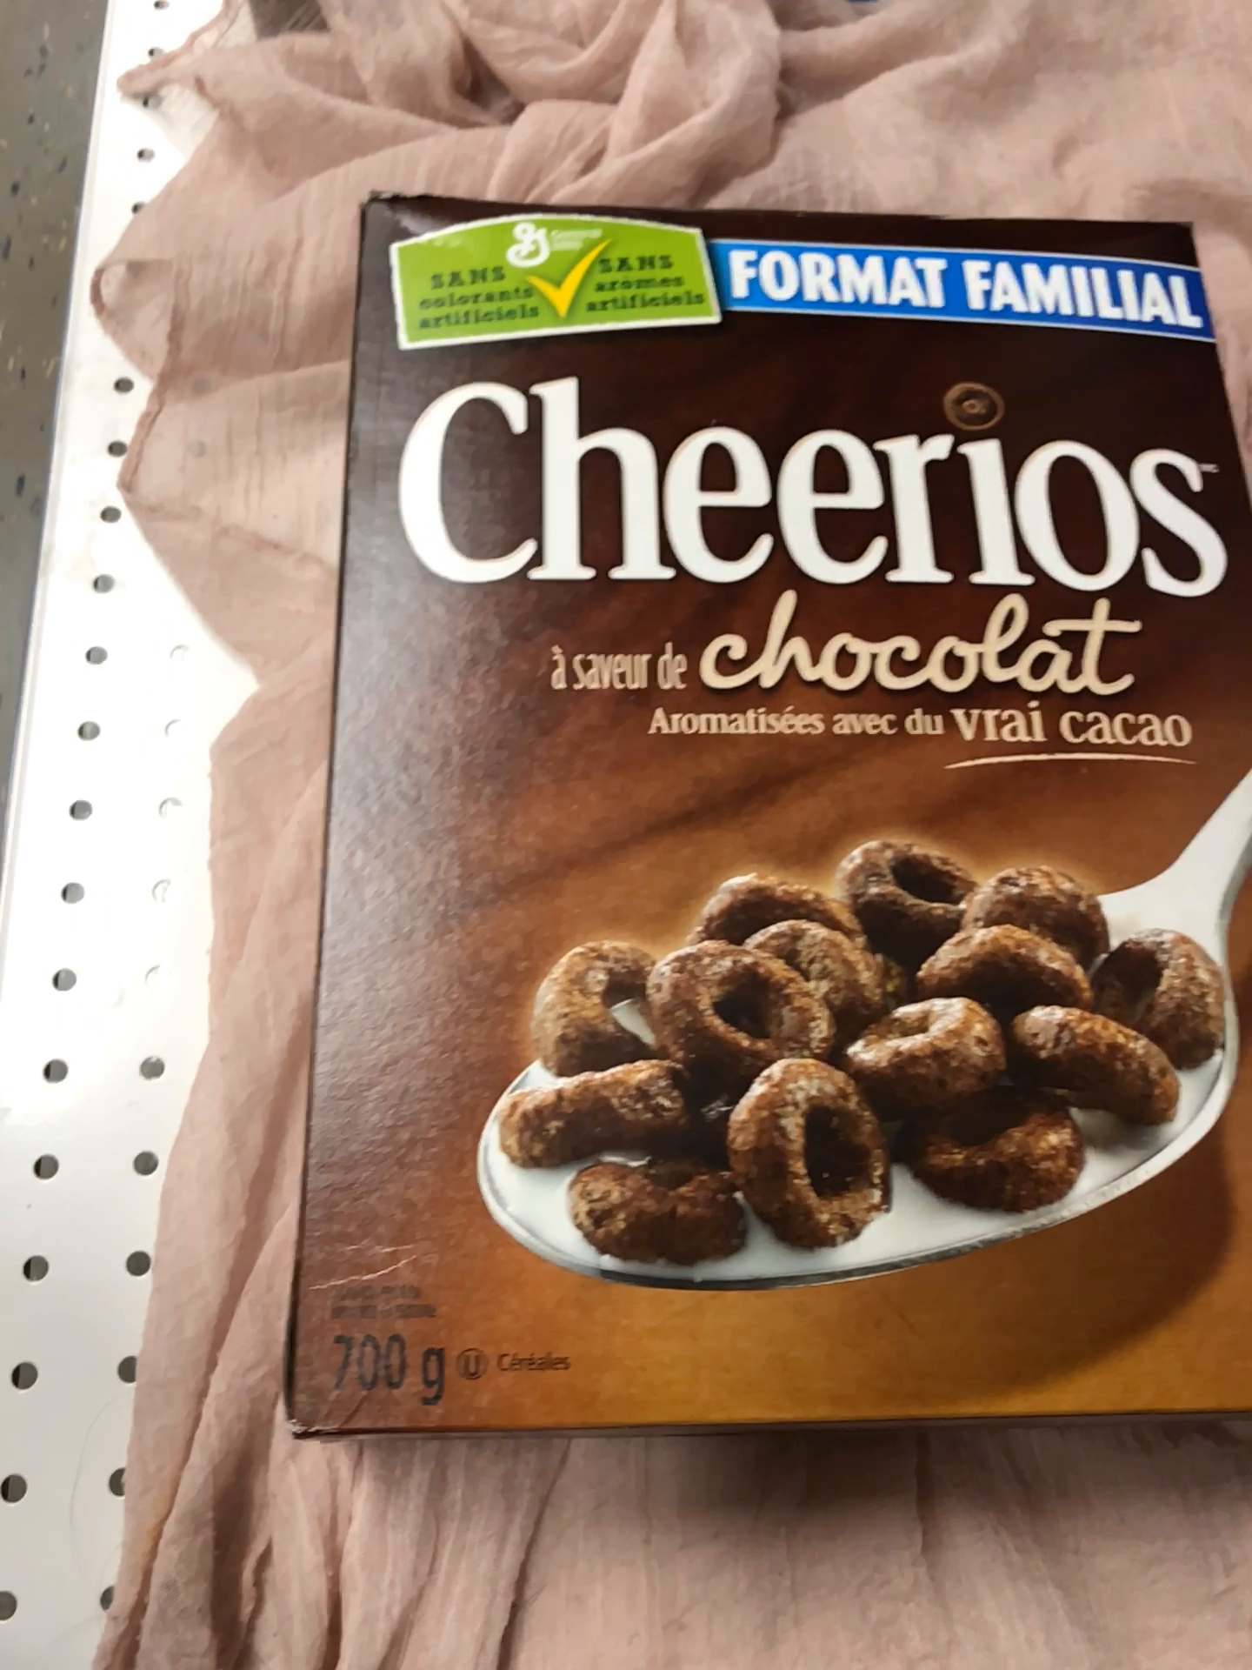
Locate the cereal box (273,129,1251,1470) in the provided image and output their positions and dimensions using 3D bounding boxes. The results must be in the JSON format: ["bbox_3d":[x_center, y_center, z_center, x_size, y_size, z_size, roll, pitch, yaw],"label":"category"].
[{"bbox_3d":[0.046,-0.021,0.363,0.230,0.090,0.330,0,67,-4],"label":"cereal box"}]
